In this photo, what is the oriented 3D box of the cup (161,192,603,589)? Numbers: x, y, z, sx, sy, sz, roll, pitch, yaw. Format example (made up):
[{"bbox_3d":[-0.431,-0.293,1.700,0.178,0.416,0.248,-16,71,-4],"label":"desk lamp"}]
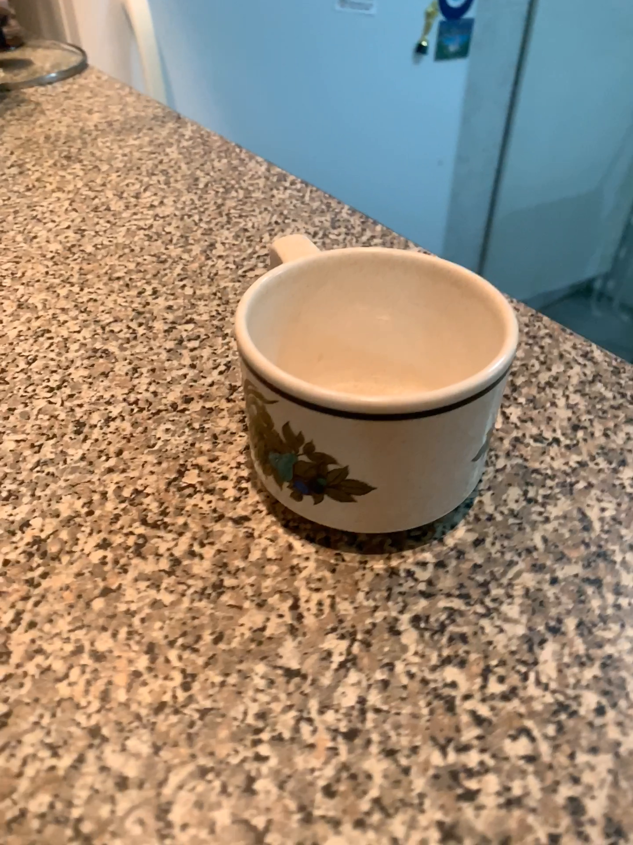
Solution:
[{"bbox_3d":[0.012,-0.022,0.220,0.088,0.054,0.117,-19,46,-21],"label":"cup"}]
